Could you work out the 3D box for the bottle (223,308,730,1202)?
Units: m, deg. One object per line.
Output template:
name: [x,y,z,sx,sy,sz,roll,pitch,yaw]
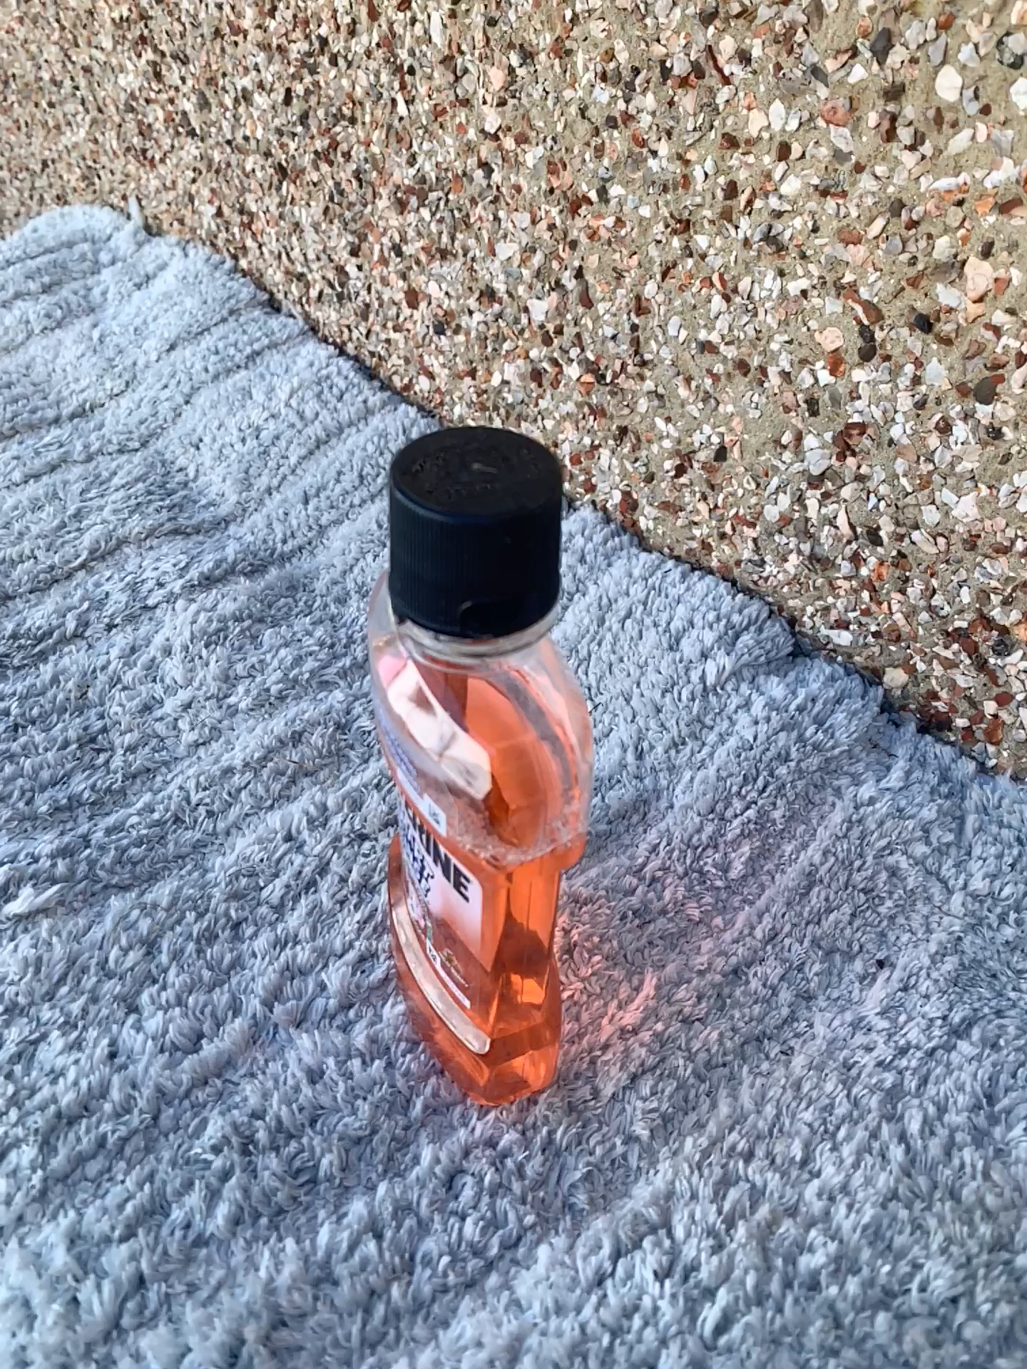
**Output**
bottle: [-0.009,0.021,0.219,0.050,0.159,0.091,-17,45,-15]
